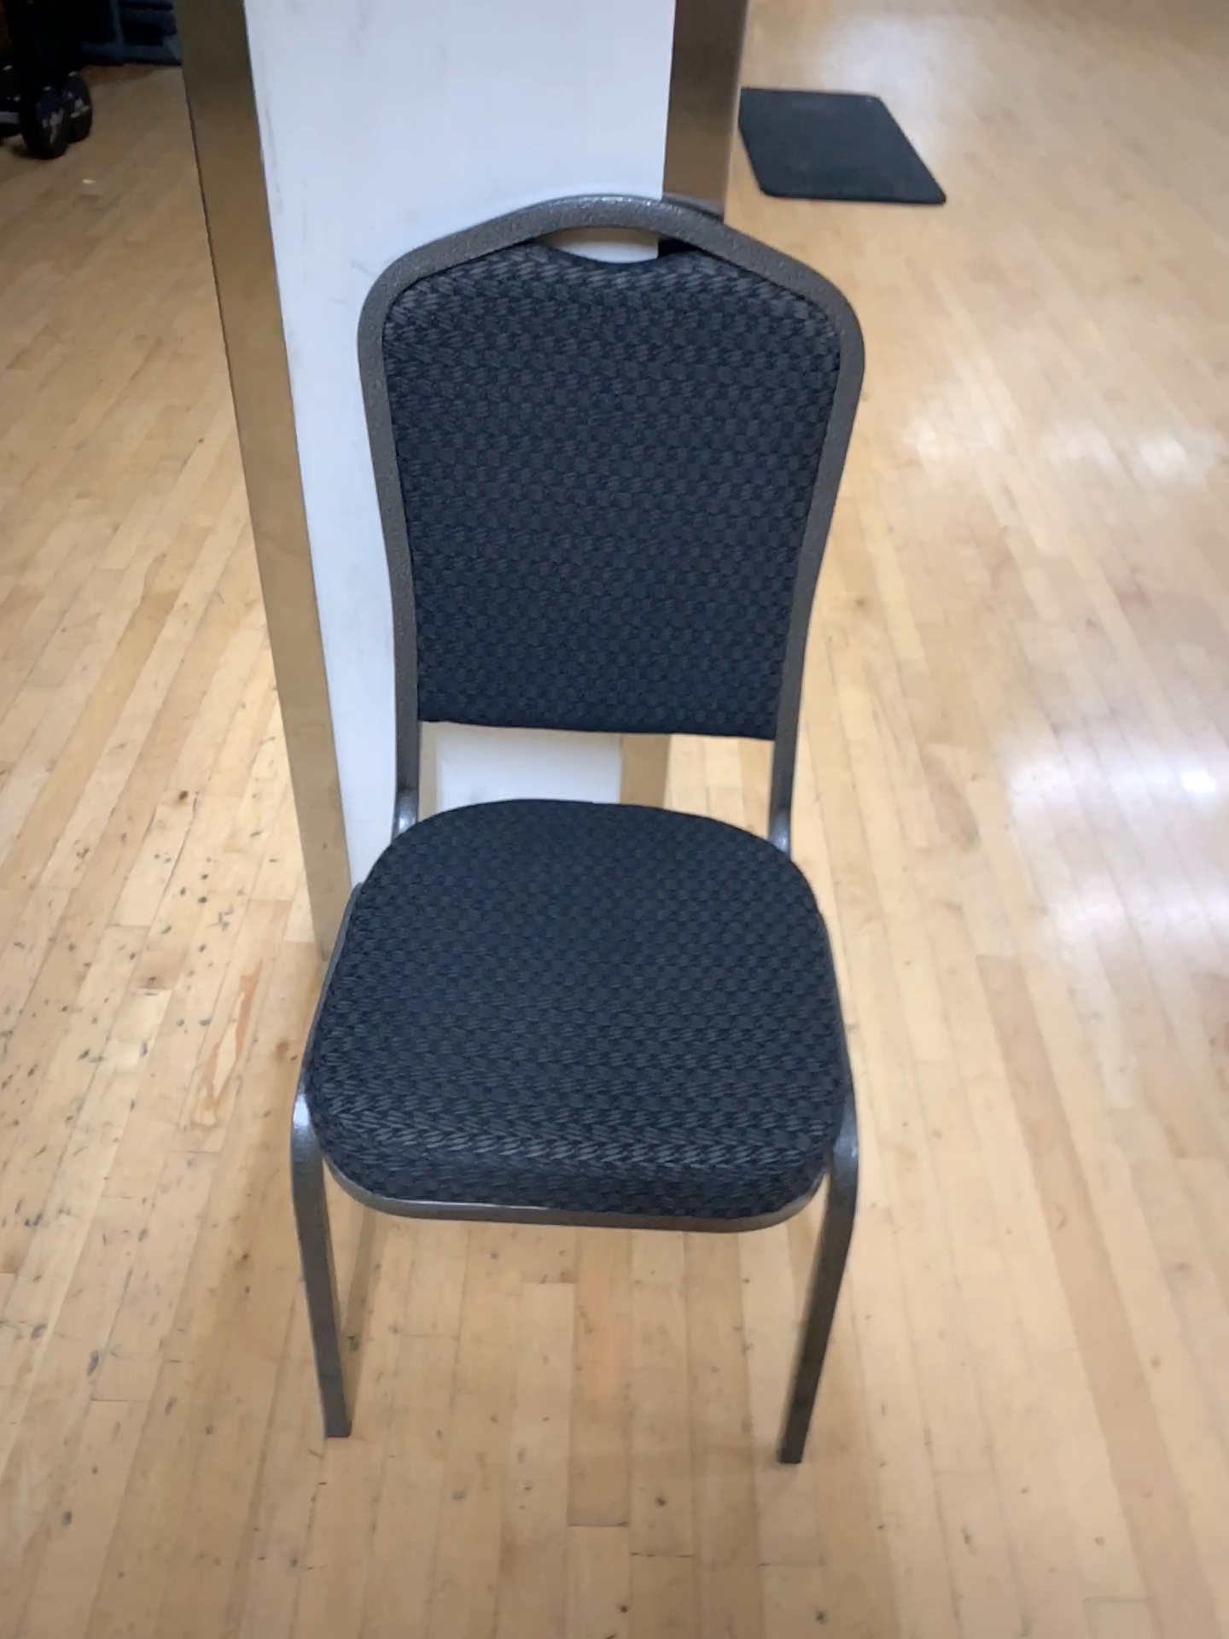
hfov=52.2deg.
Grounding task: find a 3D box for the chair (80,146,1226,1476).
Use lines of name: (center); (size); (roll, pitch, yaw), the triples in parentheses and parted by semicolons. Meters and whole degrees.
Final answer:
chair: (0.001, 0.045, 1.021); (0.464, 0.909, 0.567); (4, 42, -1)
